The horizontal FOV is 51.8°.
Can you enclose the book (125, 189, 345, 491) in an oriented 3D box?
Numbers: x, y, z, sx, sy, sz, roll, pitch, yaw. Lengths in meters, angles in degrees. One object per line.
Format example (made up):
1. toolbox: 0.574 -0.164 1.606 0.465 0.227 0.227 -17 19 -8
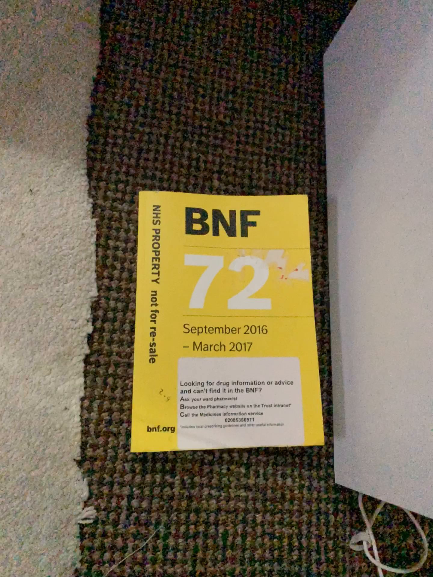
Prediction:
1. book: 0.010 0.037 0.366 0.160 0.050 0.220 2 76 -13
